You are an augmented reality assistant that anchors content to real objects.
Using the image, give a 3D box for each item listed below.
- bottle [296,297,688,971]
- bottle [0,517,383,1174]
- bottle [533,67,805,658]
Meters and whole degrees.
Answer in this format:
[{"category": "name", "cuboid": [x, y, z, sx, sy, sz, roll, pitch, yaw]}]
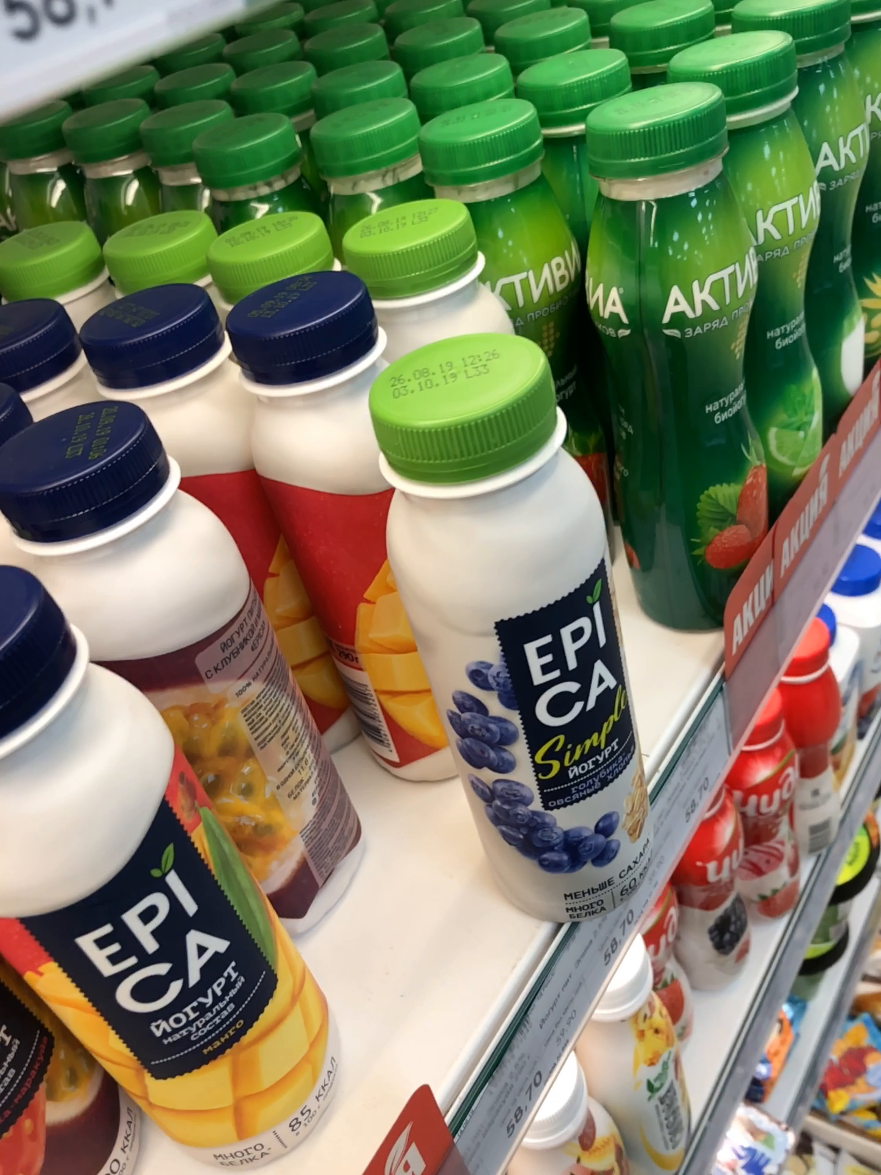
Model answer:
[{"category": "bottle", "cuboid": [0.022, 0.021, 0.254, 0.053, 0.170, 0.052, -9, 39, 8]}, {"category": "bottle", "cuboid": [-0.068, 0.074, 0.219, 0.053, 0.170, 0.049, -9, 39, 8]}, {"category": "bottle", "cuboid": [0.081, -0.067, 0.331, 0.053, 0.181, 0.053, -9, 39, 8]}]
